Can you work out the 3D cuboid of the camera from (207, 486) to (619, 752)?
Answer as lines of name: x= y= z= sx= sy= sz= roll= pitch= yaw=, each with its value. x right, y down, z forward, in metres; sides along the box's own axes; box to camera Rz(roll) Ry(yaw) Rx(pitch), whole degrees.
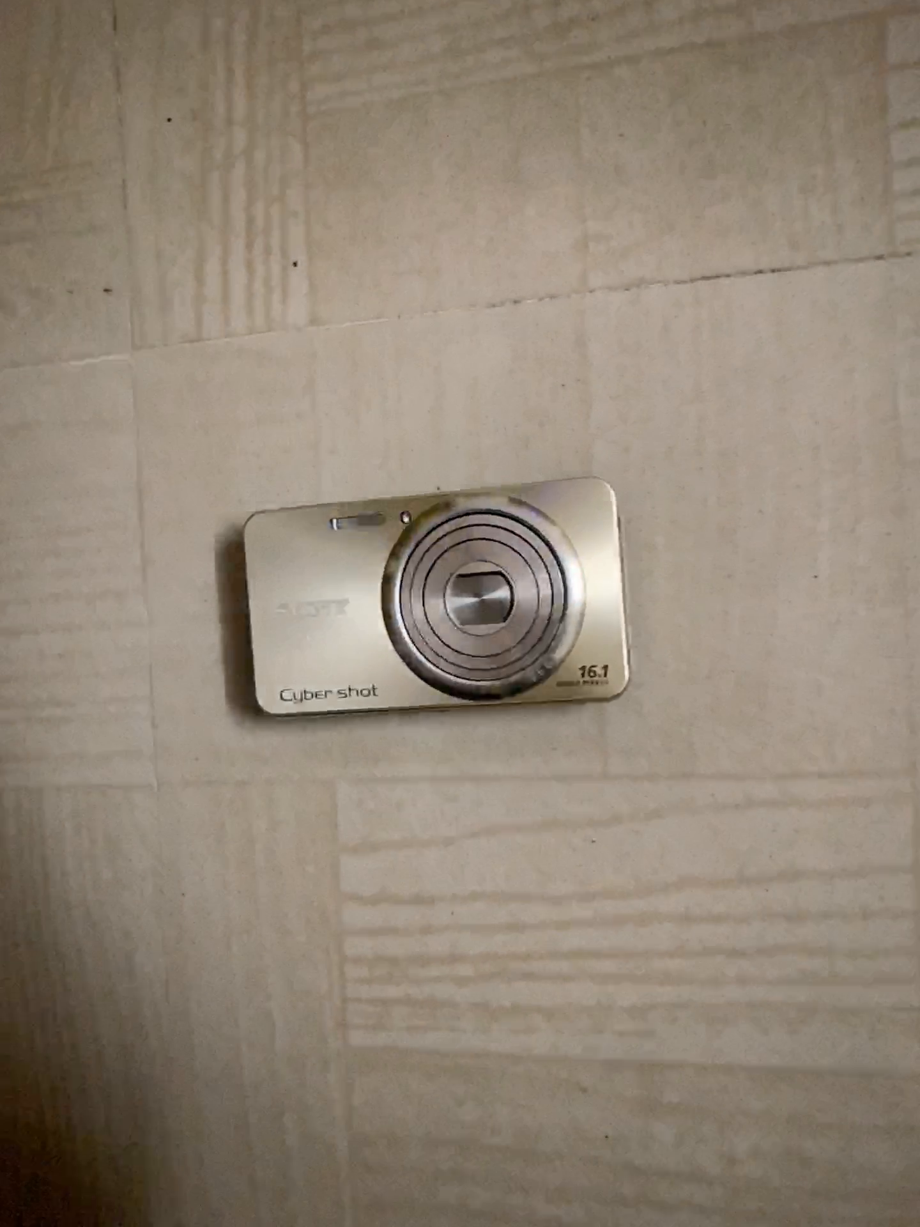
camera: x=-0.012 y=0.003 z=0.237 sx=0.097 sy=0.019 sz=0.057 roll=-4 pitch=90 yaw=12
